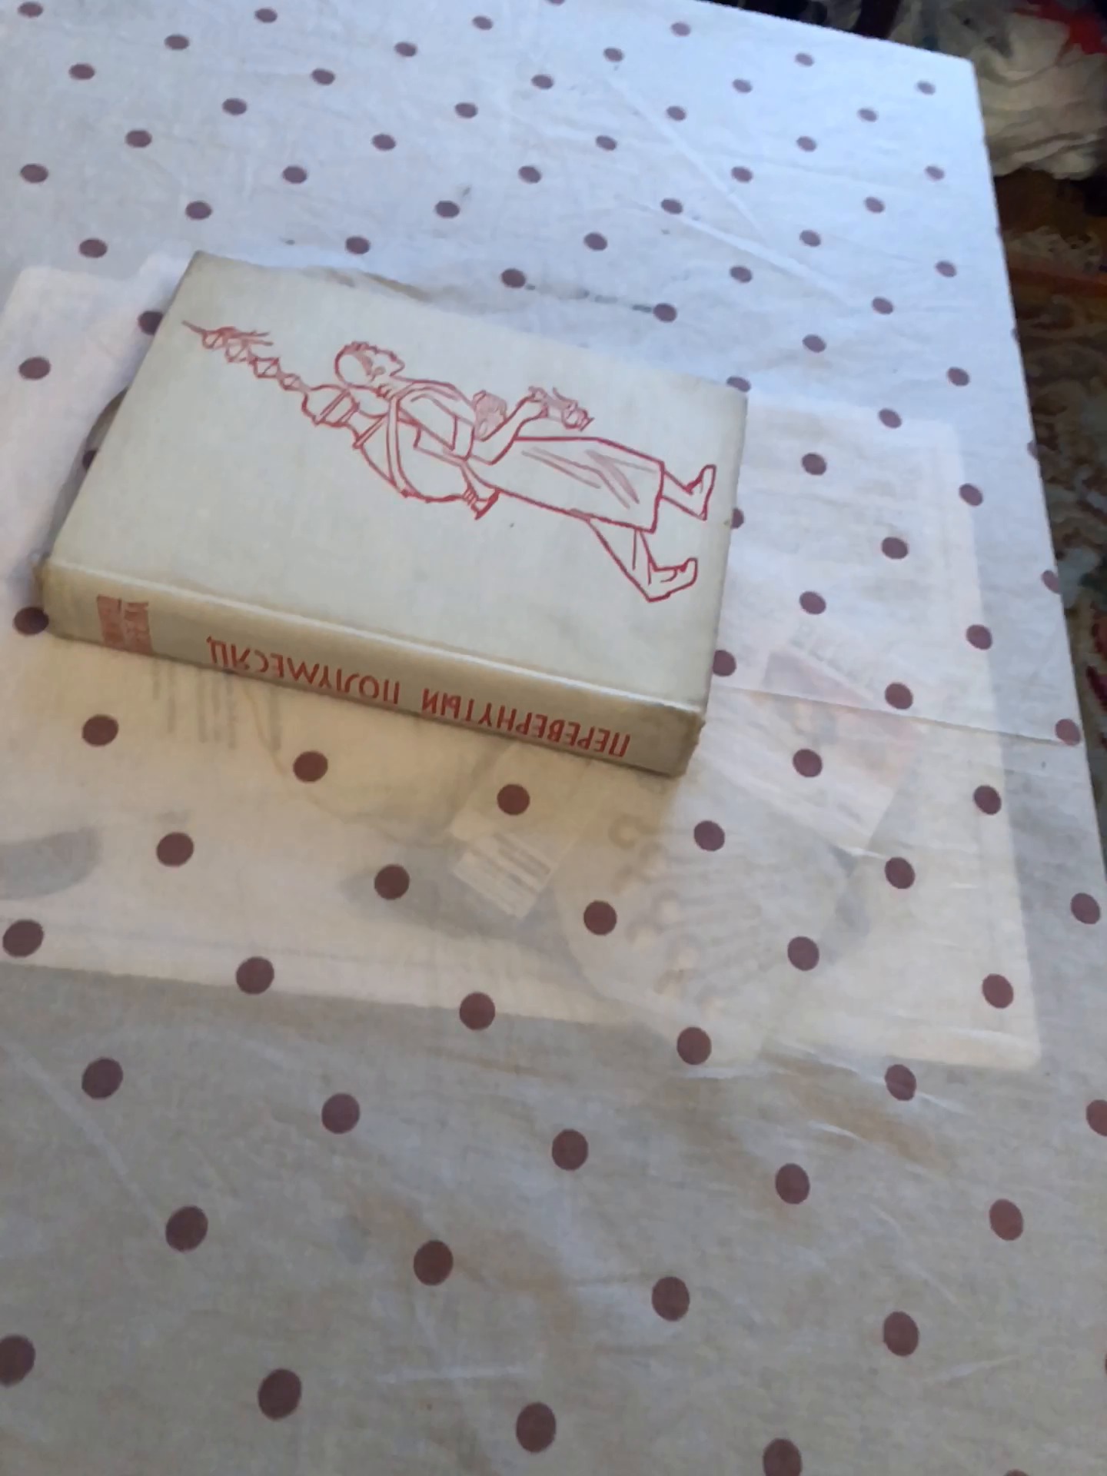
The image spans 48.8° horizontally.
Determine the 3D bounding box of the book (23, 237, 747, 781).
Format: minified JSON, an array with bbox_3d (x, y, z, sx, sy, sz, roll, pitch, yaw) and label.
[{"bbox_3d":[-0.053,-0.095,0.486,0.240,0.050,0.175,12,60,-3],"label":"book"}]
